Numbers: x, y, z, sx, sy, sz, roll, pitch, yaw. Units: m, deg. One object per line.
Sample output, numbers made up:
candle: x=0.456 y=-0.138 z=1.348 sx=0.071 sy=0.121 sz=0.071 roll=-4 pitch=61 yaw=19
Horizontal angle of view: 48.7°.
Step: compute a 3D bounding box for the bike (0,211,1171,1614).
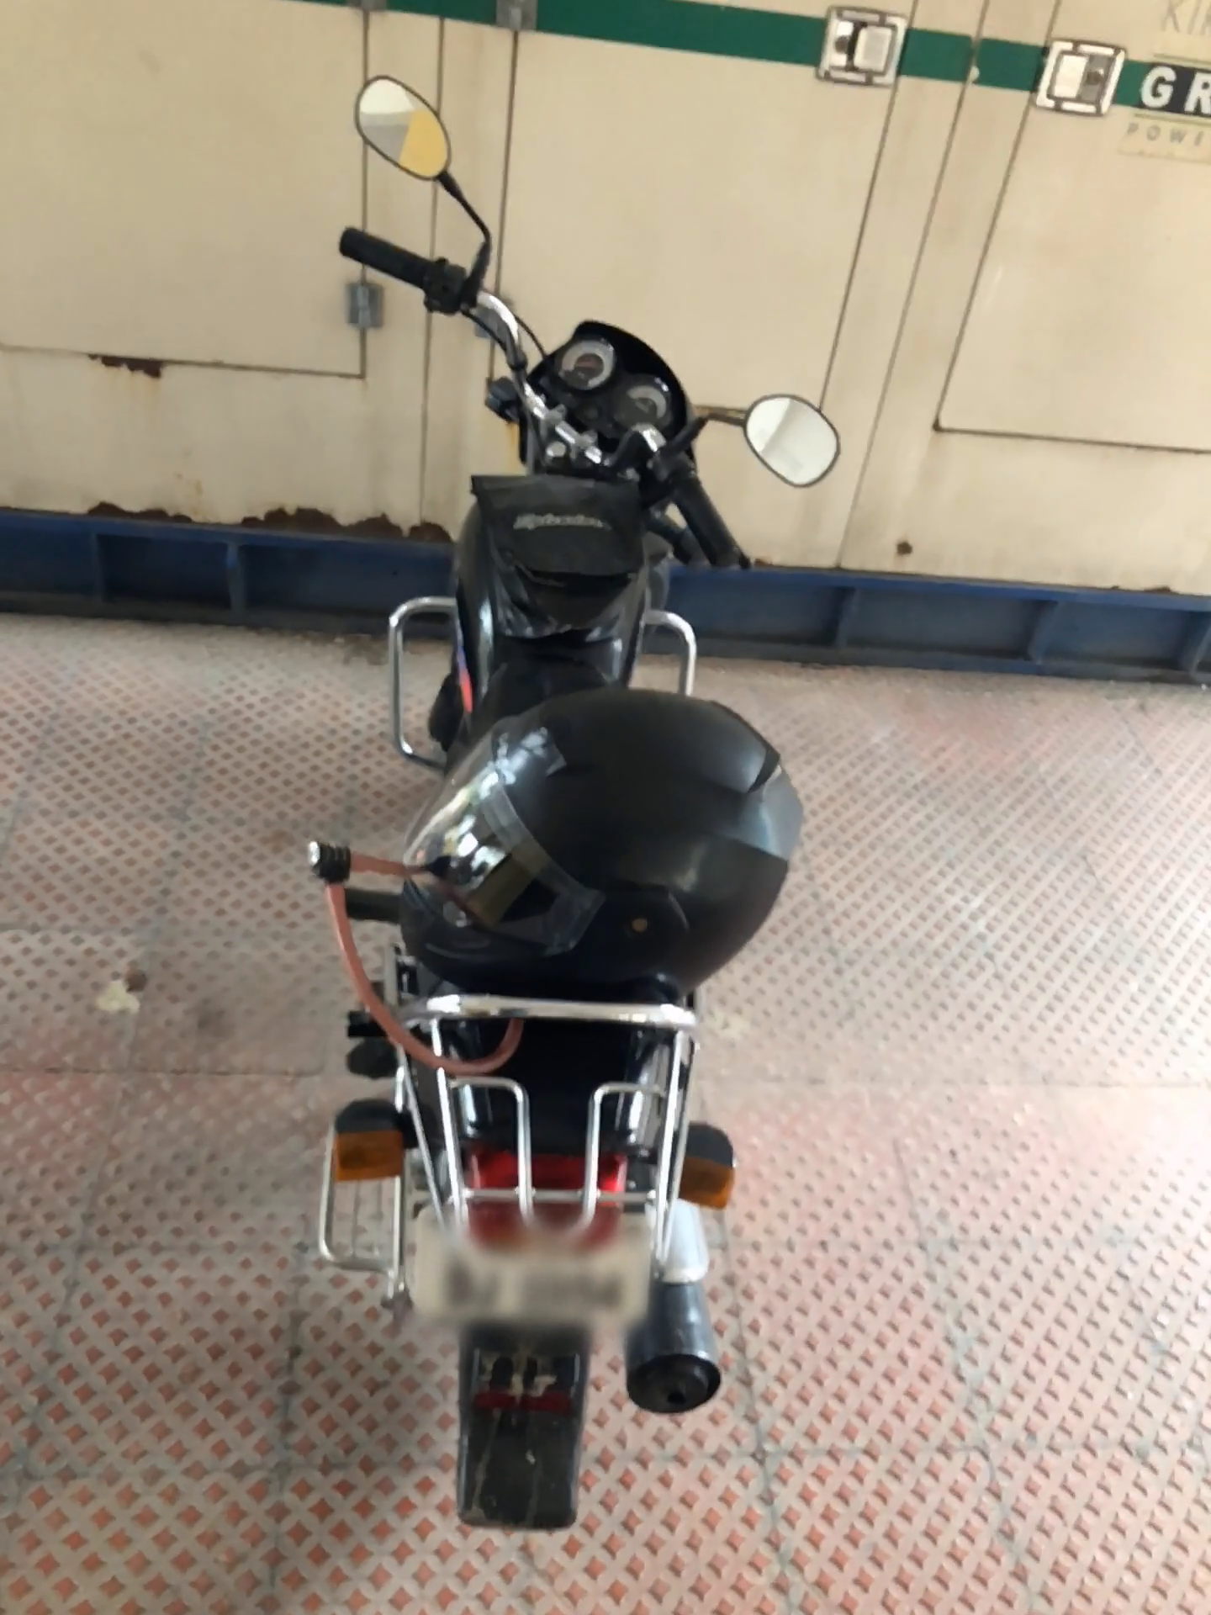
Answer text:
bike: x=-0.026 y=-0.033 z=1.910 sx=0.735 sy=1.087 sz=1.869 roll=8 pitch=36 yaw=-2
